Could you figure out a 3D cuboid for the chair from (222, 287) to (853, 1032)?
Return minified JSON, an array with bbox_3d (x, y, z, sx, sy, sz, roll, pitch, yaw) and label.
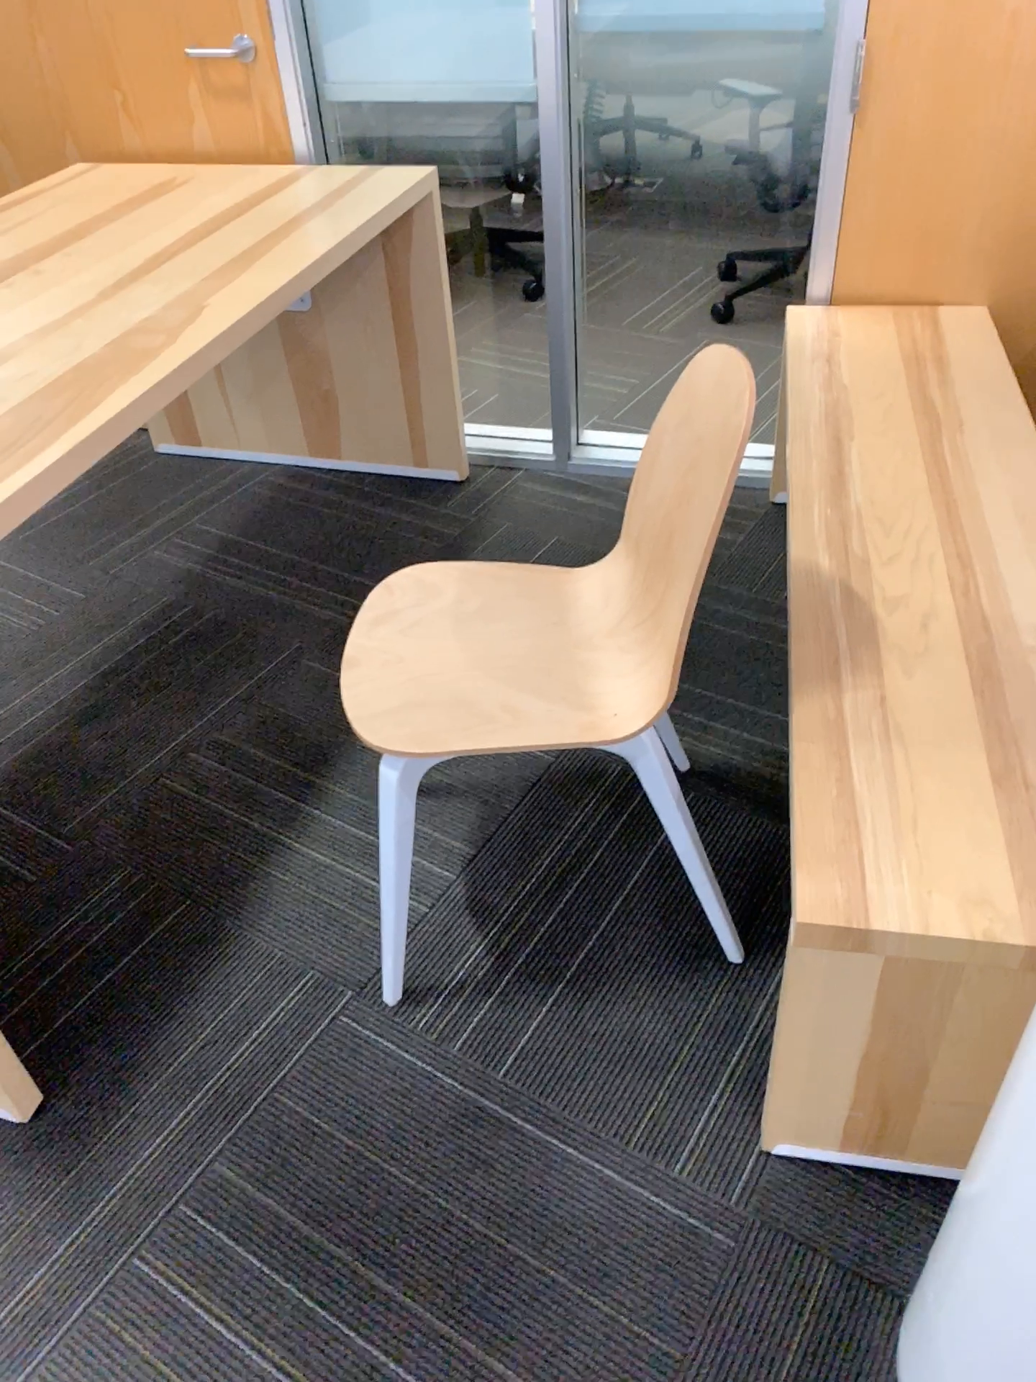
[{"bbox_3d":[0.032,-0.024,1.478,0.600,0.835,0.543,-5,39,0],"label":"chair"}]
